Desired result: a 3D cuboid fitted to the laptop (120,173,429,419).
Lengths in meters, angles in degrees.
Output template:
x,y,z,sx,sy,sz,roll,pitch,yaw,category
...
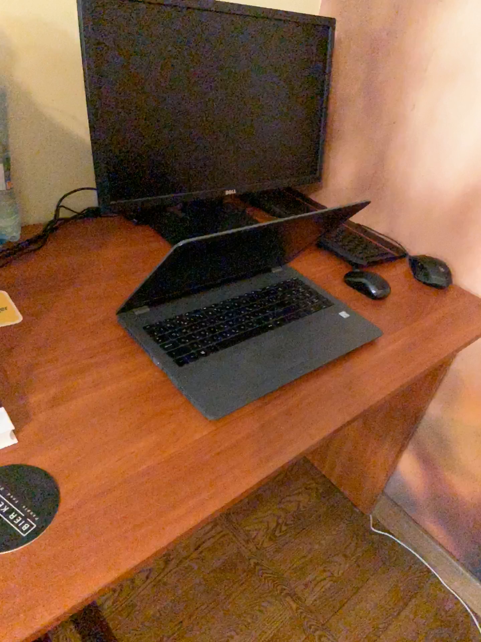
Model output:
x,y,z,sx,sy,sz,roll,pitch,yaw,category
0.050,-0.071,0.762,0.386,0.193,0.245,-20,46,-36,laptop
